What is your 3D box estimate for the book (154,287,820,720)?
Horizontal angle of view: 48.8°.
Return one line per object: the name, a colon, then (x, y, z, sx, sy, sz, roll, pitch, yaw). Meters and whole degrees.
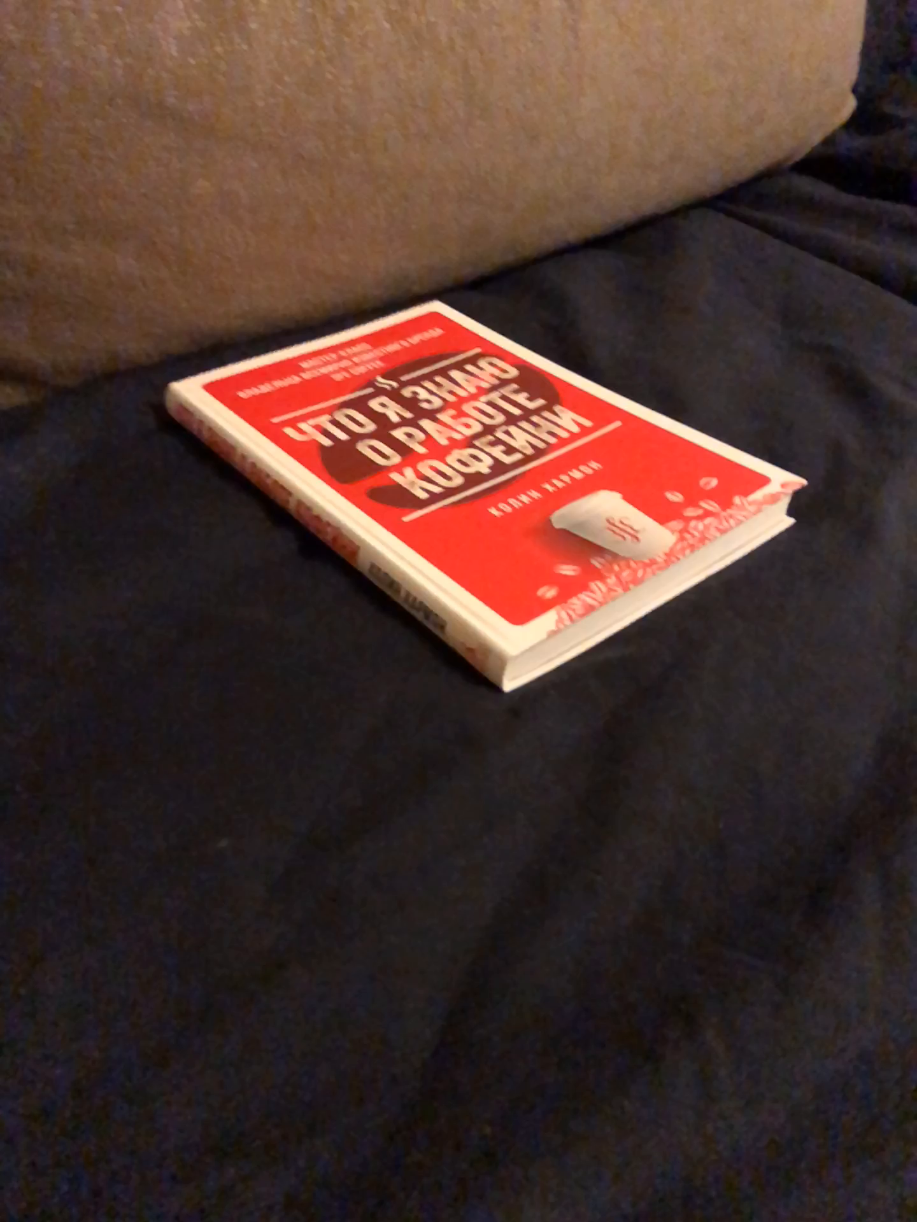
book: (0.002, -0.063, 0.402, 0.153, 0.020, 0.223, -28, 48, -29)
